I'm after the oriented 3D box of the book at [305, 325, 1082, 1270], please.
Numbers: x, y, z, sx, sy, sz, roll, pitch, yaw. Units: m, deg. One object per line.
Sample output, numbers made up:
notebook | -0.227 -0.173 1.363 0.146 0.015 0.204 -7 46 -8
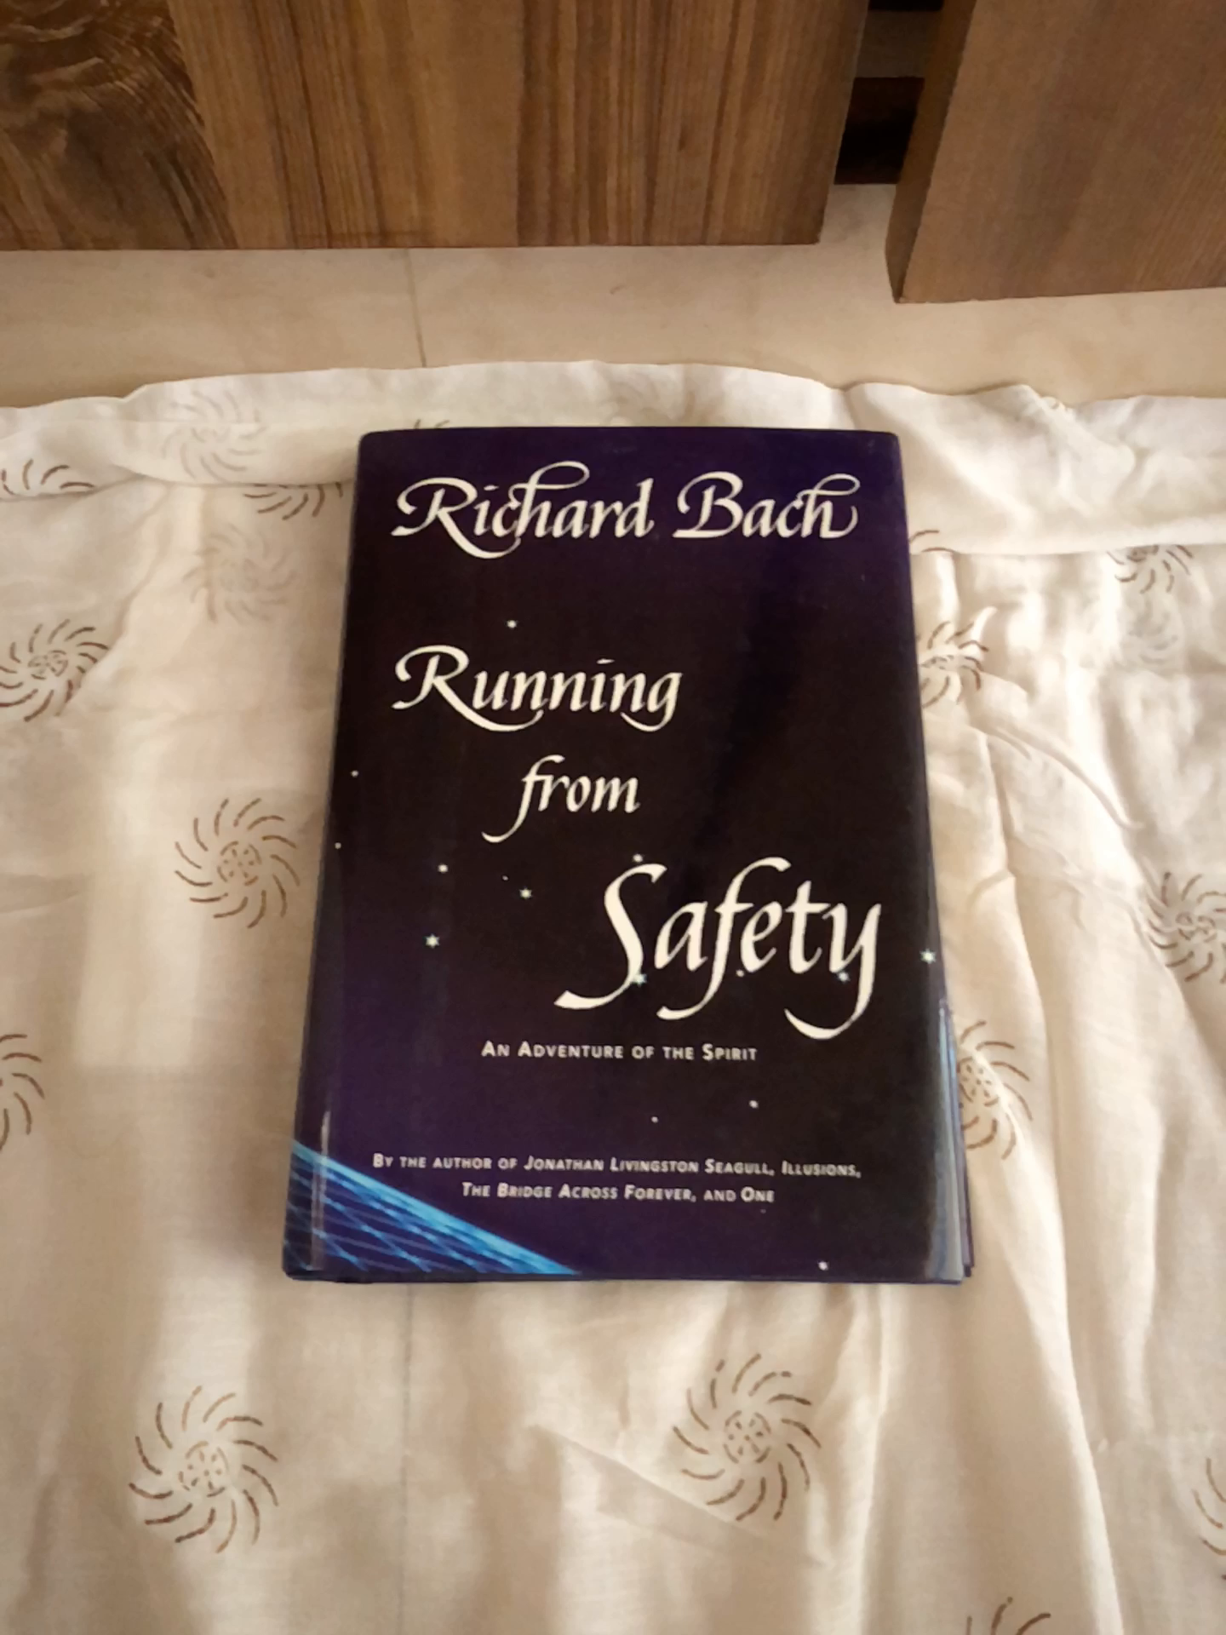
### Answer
book | 0.018 -0.013 0.364 0.170 0.040 0.250 2 66 -6
